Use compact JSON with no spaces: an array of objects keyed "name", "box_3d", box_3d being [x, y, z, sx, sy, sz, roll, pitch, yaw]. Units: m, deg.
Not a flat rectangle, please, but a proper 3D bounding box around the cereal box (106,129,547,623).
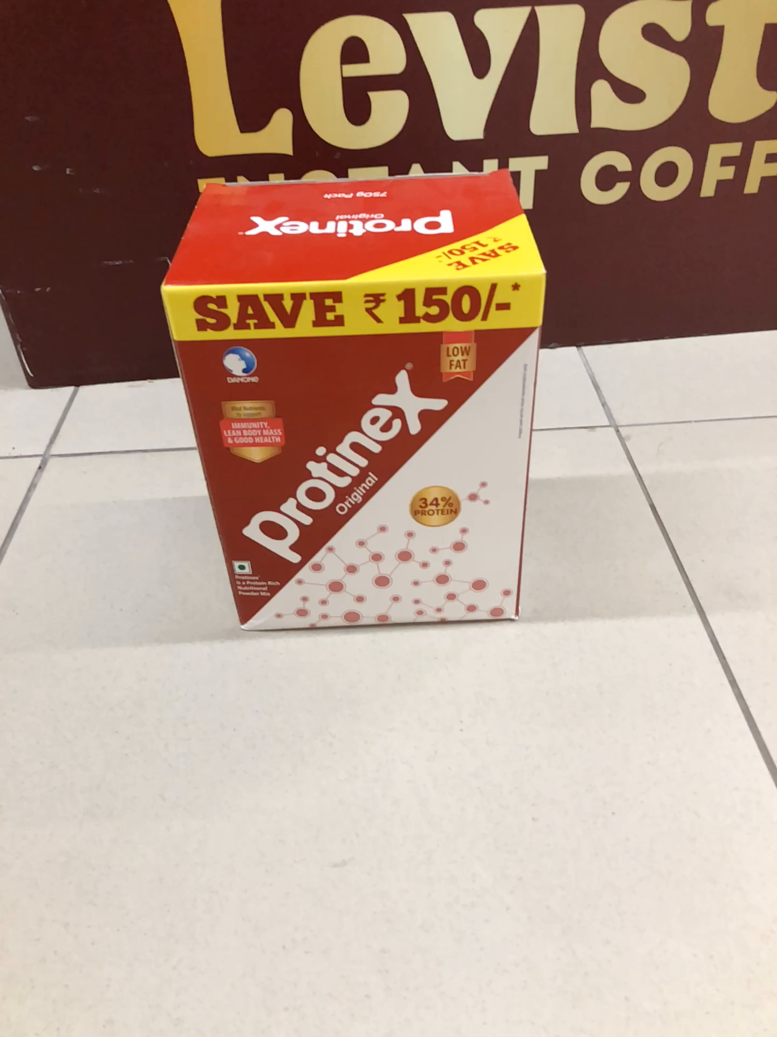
[{"name":"cereal box","box_3d":[-0.022,-0.065,0.421,0.160,0.199,0.121,-3,41,-1]}]
